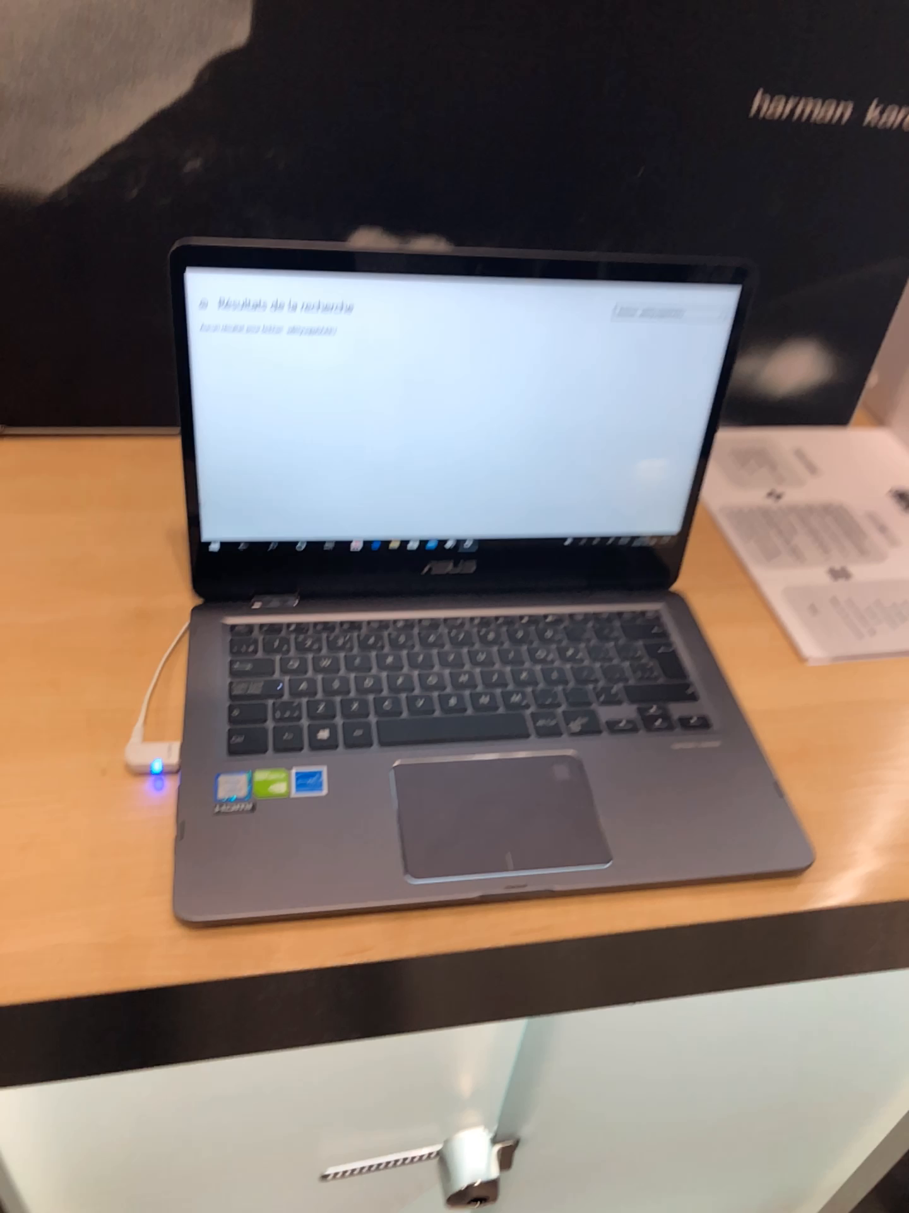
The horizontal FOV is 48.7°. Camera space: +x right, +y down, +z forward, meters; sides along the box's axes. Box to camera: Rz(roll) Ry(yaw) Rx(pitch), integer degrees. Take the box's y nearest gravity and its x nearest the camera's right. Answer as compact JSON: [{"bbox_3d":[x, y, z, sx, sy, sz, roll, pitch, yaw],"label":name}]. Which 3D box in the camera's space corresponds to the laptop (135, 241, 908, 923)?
[{"bbox_3d":[0.024,-0.022,0.511,0.320,0.224,0.240,-2,41,-11],"label":"laptop"}]
